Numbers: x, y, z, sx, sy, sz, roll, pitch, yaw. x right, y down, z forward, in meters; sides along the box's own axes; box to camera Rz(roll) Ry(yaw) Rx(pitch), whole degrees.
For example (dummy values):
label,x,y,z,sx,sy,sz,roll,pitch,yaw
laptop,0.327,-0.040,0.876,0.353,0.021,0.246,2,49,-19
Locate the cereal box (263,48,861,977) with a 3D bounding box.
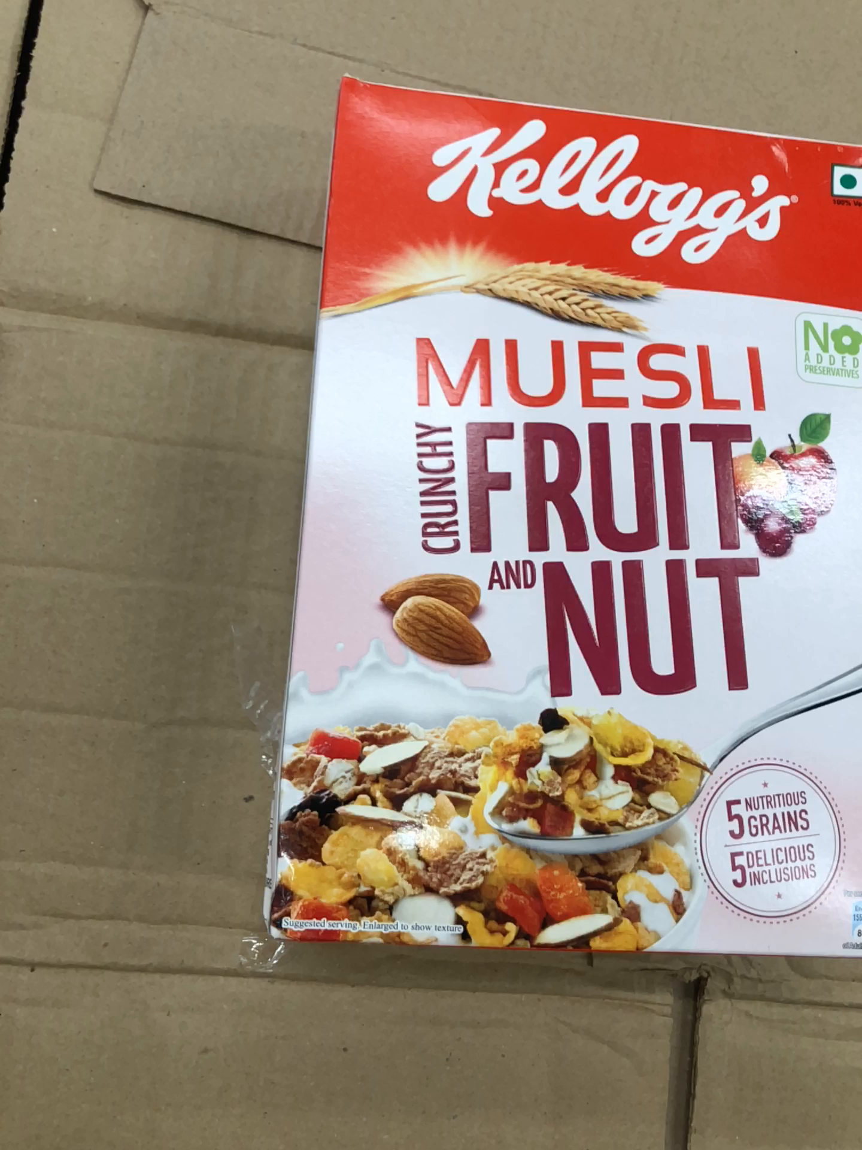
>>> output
label,x,y,z,sx,sy,sz,roll,pitch,yaw
cereal box,0.045,-0.017,0.302,0.170,0.080,0.250,4,80,-6
